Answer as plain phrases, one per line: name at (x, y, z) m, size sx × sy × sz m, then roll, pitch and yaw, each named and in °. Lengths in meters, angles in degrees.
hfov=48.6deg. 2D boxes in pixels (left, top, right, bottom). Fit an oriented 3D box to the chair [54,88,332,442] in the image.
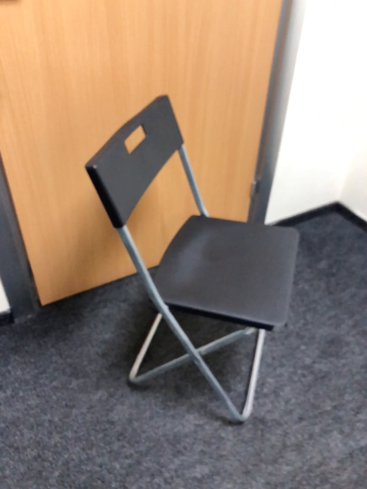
chair at (0.053, 0.053, 1.092) m, size 0.480 × 0.725 × 0.483 m, roll 12°, pitch 40°, yaw 12°
